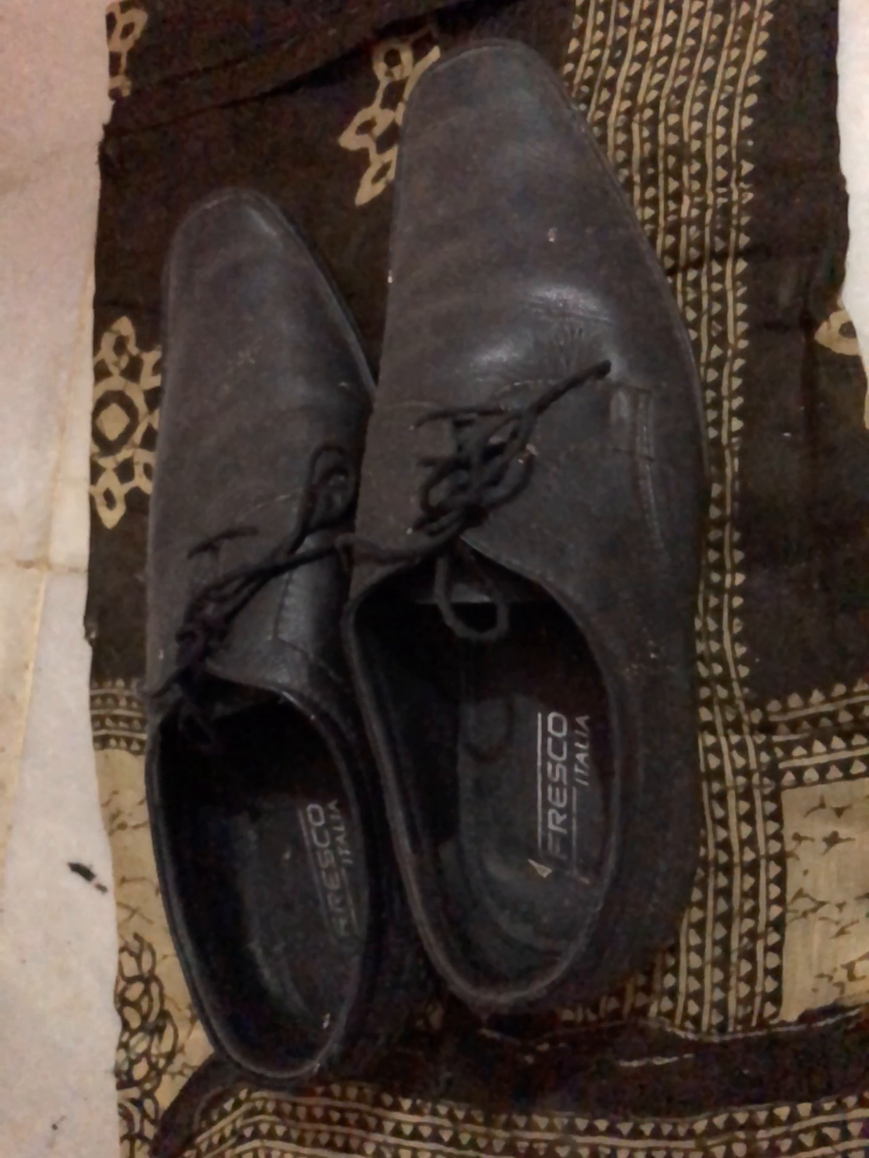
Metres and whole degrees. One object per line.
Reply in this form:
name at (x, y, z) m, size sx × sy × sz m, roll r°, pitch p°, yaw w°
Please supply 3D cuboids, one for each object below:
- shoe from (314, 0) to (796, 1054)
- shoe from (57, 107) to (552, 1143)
shoe at (0.039, -0.034, 0.326) m, size 0.110 × 0.070 × 0.340 m, roll -8°, pitch 83°, yaw 22°
shoe at (-0.052, 0.015, 0.364) m, size 0.110 × 0.070 × 0.340 m, roll -14°, pitch 81°, yaw 21°
